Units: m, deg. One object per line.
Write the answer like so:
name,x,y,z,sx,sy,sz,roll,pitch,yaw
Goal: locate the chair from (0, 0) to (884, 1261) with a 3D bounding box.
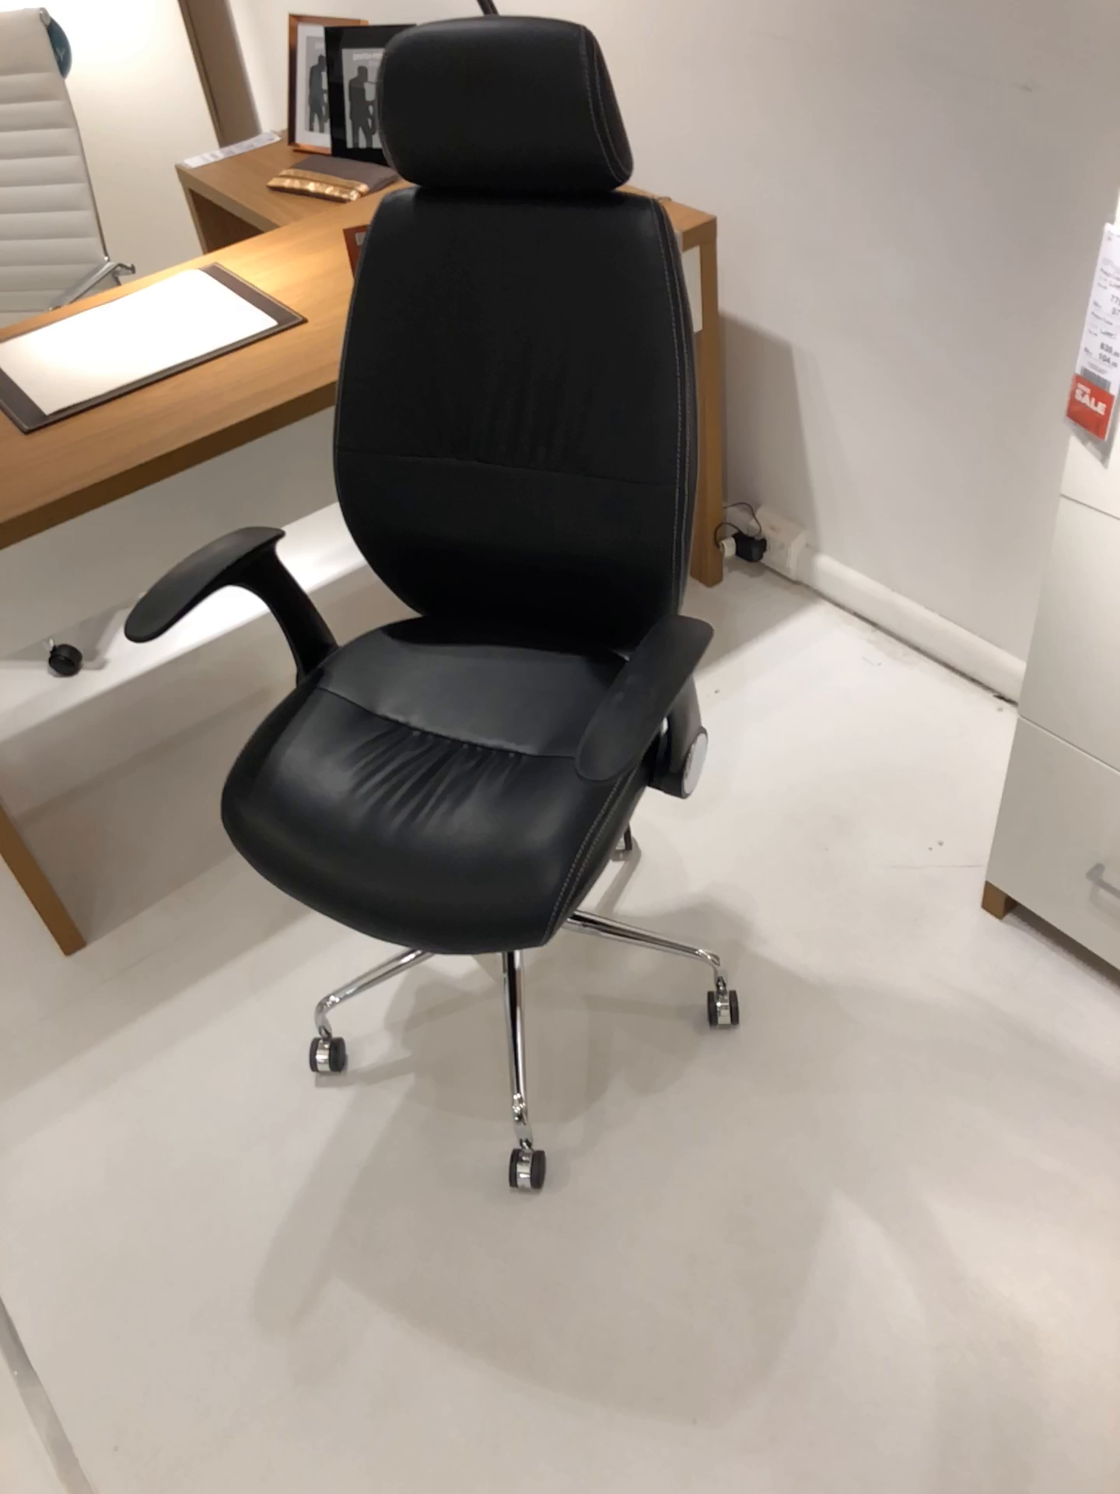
chair,-0.089,-0.088,1.546,0.691,1.300,0.714,16,50,22
